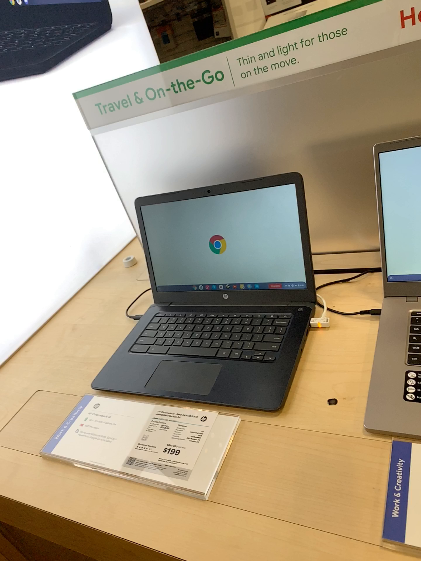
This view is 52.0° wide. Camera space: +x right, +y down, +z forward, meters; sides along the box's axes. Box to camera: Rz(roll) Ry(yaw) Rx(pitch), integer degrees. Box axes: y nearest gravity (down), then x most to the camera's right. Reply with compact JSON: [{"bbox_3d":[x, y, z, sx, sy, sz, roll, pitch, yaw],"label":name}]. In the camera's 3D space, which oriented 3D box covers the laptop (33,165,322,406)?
[{"bbox_3d":[-0.029,-0.001,0.687,0.320,0.198,0.293,-3,34,31],"label":"laptop"}]
